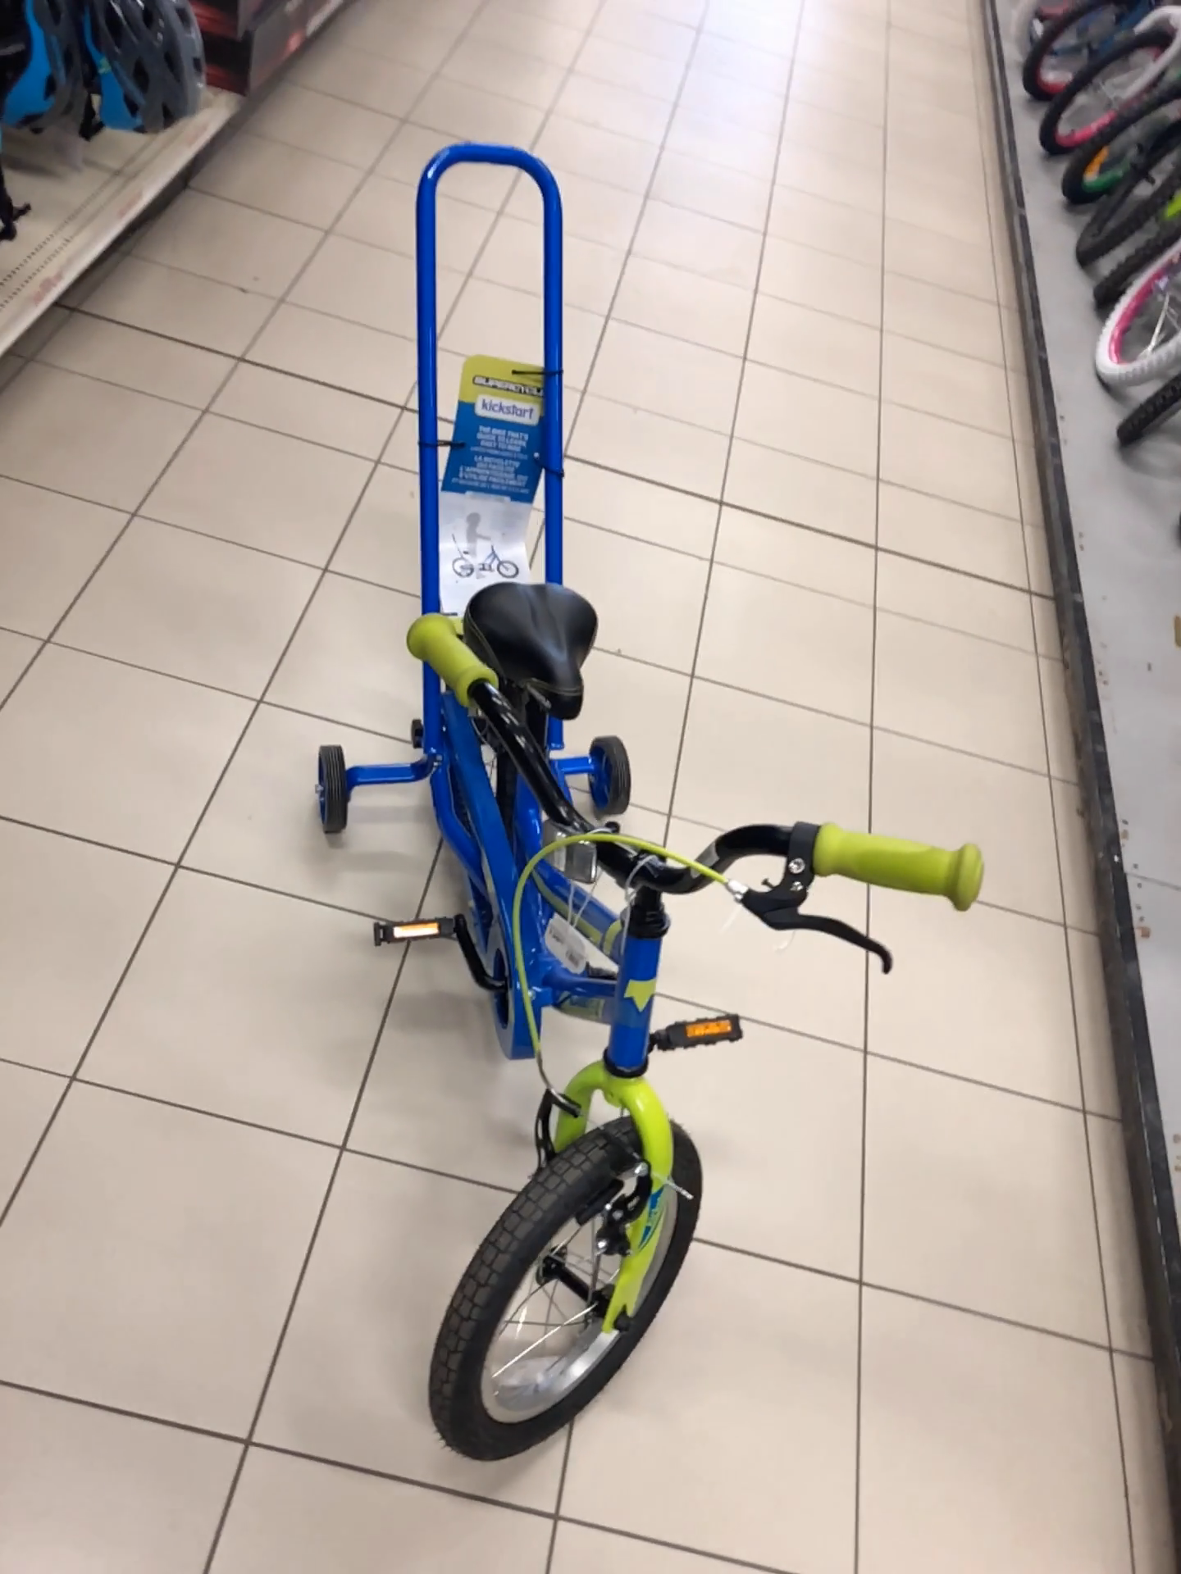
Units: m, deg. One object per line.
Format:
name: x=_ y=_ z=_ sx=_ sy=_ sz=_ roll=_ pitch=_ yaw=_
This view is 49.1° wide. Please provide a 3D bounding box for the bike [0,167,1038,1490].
bike: x=-0.128 y=0.016 z=1.235 sx=0.538 sy=0.763 sz=0.957 roll=6 pitch=47 yaw=-13
